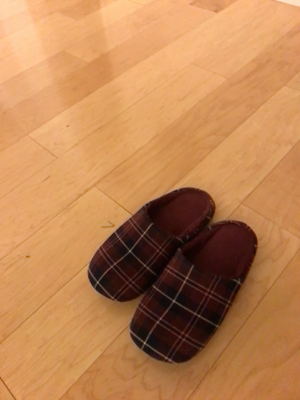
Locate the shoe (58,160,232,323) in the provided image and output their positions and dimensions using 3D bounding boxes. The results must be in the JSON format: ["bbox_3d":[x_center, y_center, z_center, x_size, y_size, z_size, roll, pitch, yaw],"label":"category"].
[{"bbox_3d":[0.000,0.051,0.526,0.261,0.050,0.120,-40,58,-23],"label":"shoe"}]

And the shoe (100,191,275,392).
[{"bbox_3d":[0.066,0.116,0.487,0.120,0.050,0.271,29,60,25],"label":"shoe"}]
